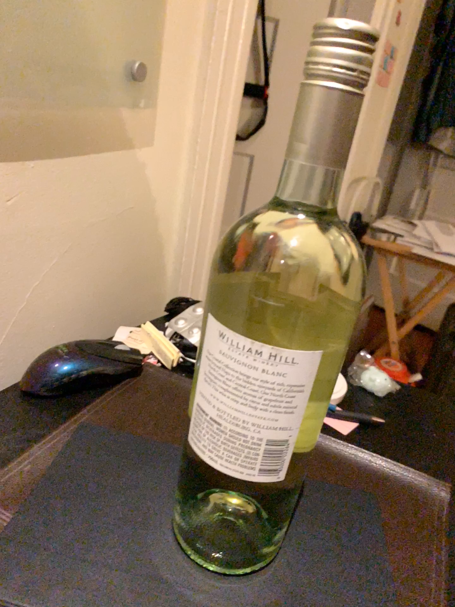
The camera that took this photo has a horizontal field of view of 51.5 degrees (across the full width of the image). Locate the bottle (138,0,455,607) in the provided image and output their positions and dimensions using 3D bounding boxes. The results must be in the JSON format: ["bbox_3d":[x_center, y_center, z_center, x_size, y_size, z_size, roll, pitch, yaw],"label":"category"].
[{"bbox_3d":[0.027,0.017,0.257,0.090,0.298,0.090,9,24,-4],"label":"bottle"}]
